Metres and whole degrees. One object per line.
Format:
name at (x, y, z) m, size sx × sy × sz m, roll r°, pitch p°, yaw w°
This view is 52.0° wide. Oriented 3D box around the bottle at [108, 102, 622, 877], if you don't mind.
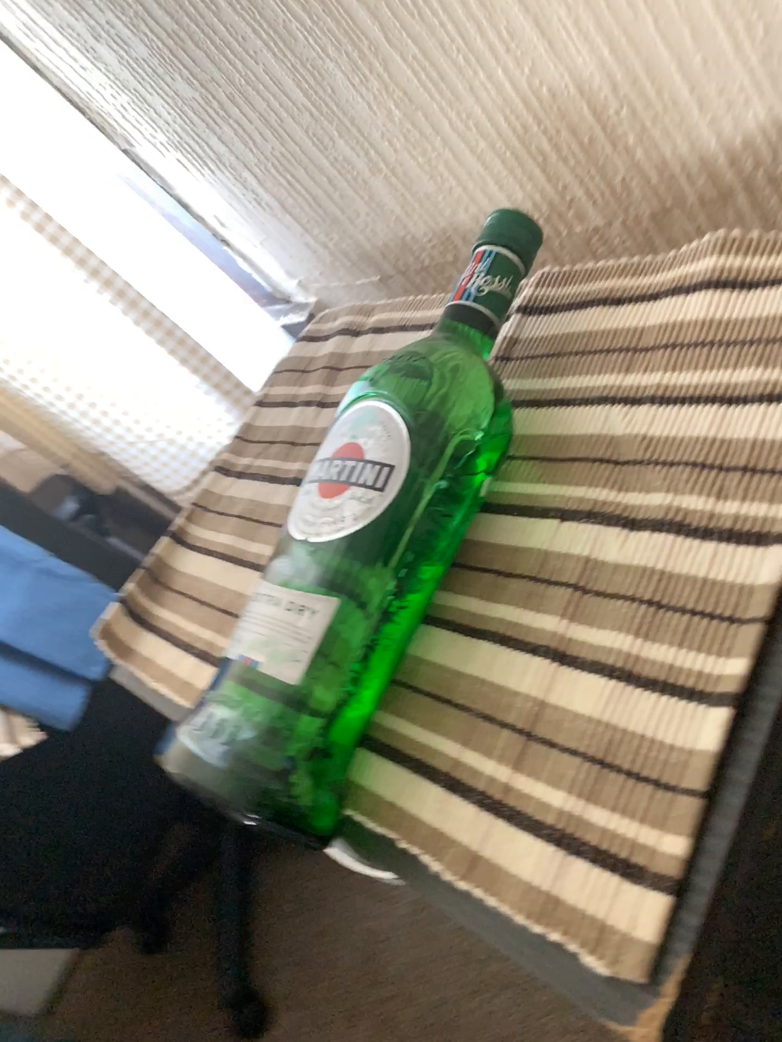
bottle at (-0.004, -0.025, 0.361) m, size 0.091 × 0.069 × 0.320 m, roll 7°, pitch 69°, yaw 50°
